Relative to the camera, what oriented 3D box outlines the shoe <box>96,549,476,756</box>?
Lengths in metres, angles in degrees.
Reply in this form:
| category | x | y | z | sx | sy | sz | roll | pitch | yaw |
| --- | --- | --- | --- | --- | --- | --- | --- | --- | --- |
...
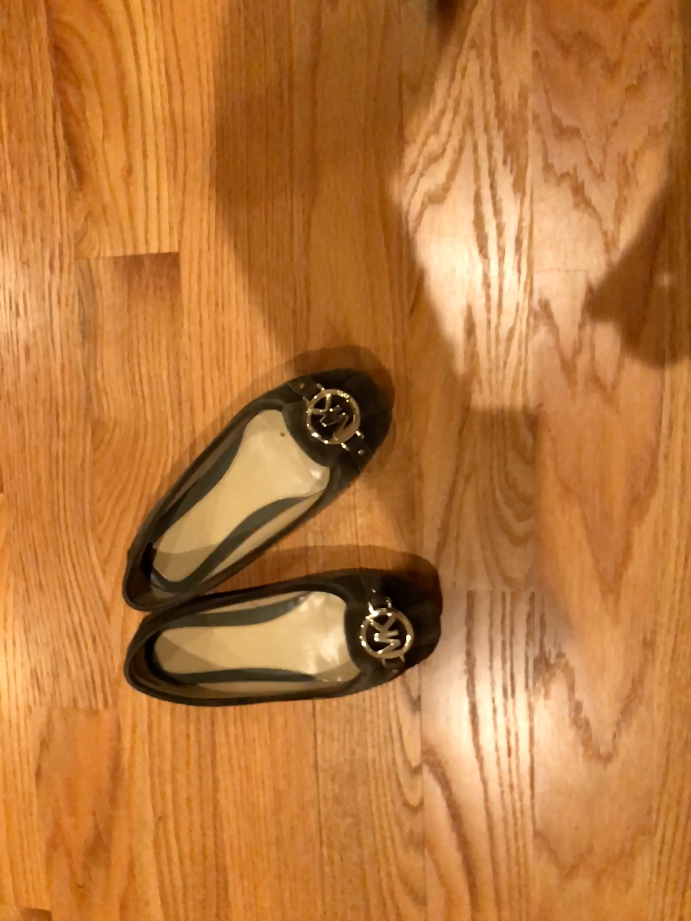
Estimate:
| category | x | y | z | sx | sy | sz | roll | pitch | yaw |
| --- | --- | --- | --- | --- | --- | --- | --- | --- | --- |
| shoe | -0.038 | 0.134 | 0.536 | 0.240 | 0.079 | 0.091 | -10 | 97 | 14 |

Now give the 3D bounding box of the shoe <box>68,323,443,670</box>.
| category | x | y | z | sx | sy | sz | roll | pitch | yaw |
| --- | --- | --- | --- | --- | --- | --- | --- | --- | --- |
| shoe | -0.060 | 0.023 | 0.519 | 0.242 | 0.079 | 0.091 | -40 | 89 | 15 |
